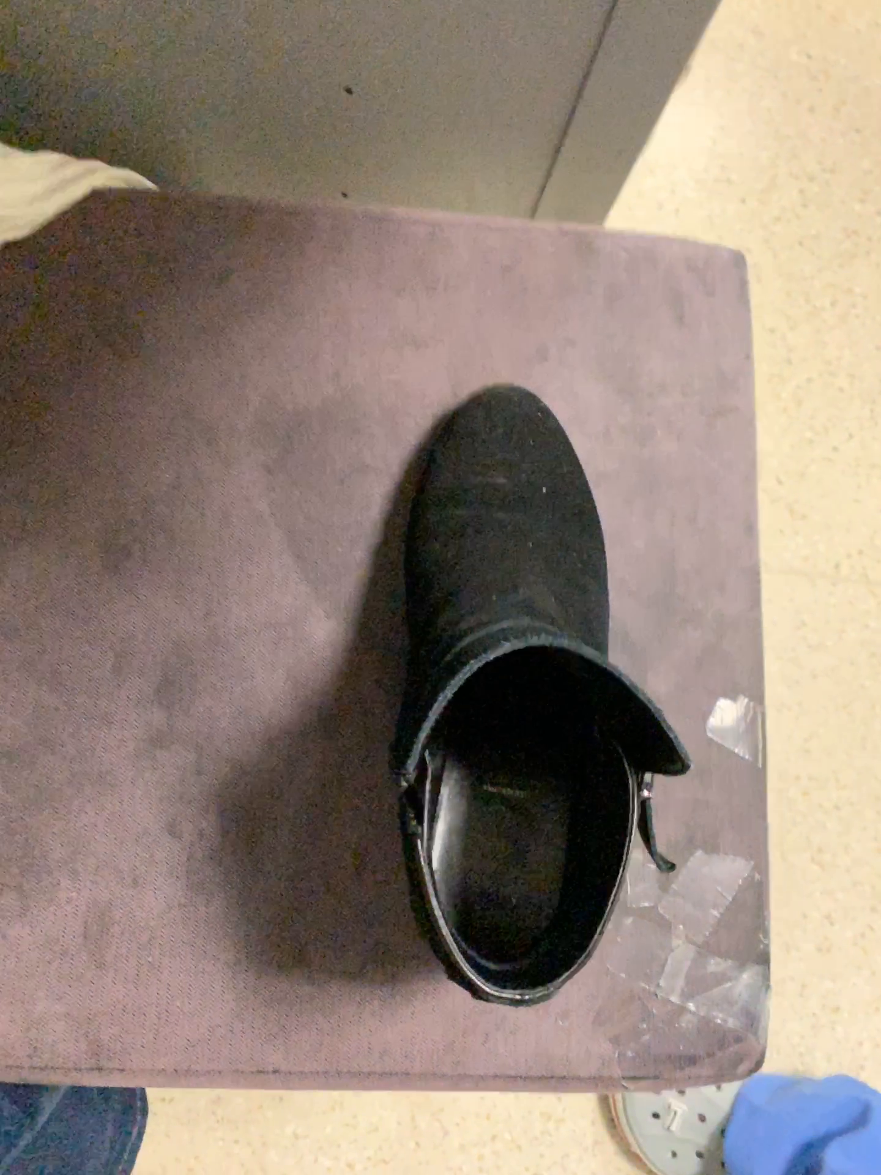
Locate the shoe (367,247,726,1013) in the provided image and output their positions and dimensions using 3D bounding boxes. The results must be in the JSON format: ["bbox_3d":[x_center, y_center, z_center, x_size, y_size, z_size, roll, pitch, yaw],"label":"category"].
[{"bbox_3d":[0.033,0.018,0.351,0.100,0.138,0.235,5,78,-6],"label":"shoe"}]
